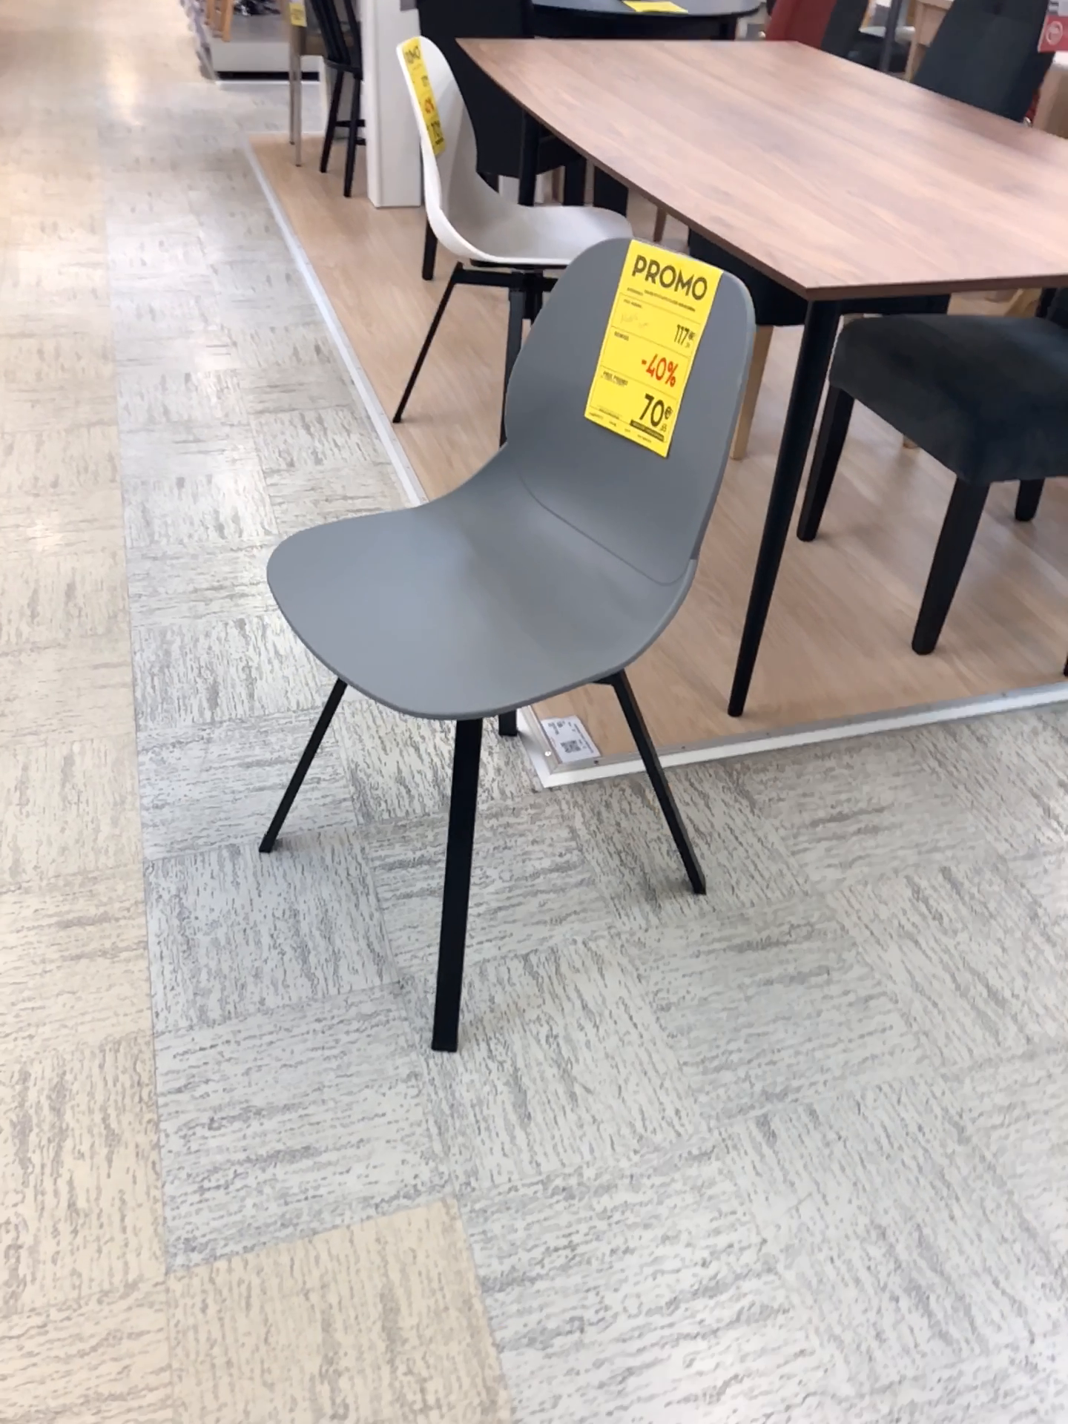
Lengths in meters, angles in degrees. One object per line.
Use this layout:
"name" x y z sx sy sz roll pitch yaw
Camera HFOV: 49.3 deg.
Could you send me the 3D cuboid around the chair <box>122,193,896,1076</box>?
"chair" -0.038 -0.124 1.384 0.583 0.755 0.511 -26 45 -33
